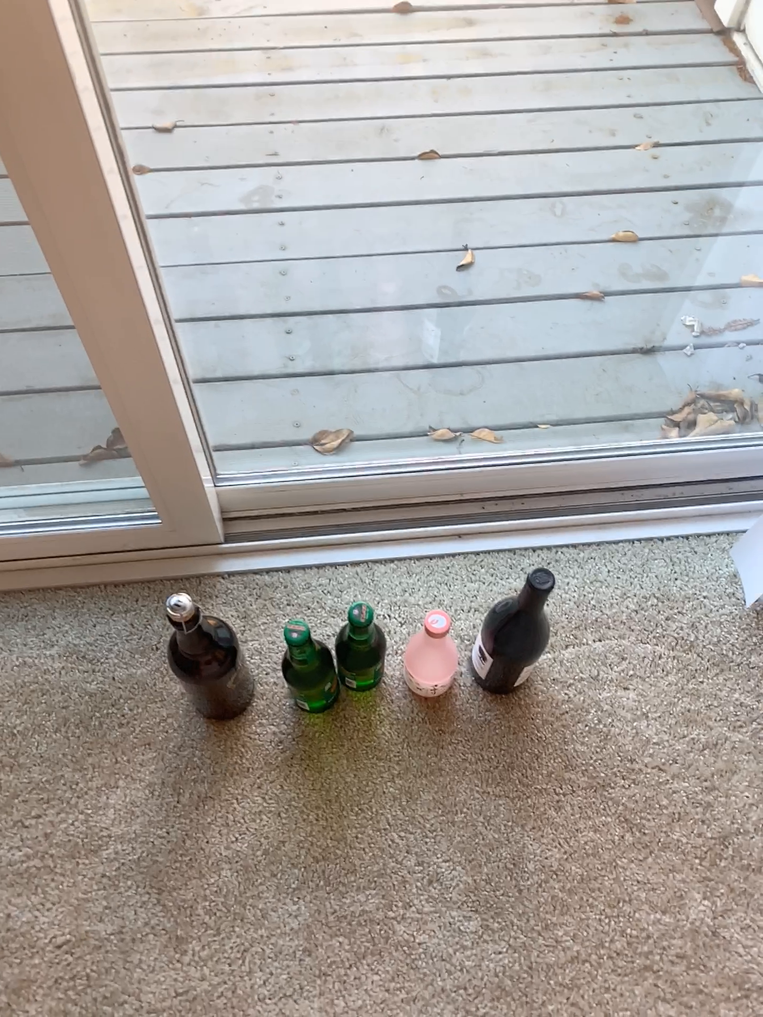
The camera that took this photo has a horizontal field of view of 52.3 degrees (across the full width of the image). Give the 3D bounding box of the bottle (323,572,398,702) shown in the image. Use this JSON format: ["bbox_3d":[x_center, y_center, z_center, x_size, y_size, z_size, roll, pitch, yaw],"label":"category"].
[{"bbox_3d":[-0.027,0.157,0.916,0.070,0.189,0.080,-7,60,-6],"label":"bottle"}]

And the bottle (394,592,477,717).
[{"bbox_3d":[0.060,0.176,0.914,0.070,0.170,0.080,12,61,6],"label":"bottle"}]

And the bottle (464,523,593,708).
[{"bbox_3d":[0.164,0.134,0.904,0.090,0.249,0.110,12,61,6],"label":"bottle"}]

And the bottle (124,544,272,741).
[{"bbox_3d":[-0.194,0.160,0.863,0.090,0.279,0.100,-18,62,-12],"label":"bottle"}]

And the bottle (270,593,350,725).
[{"bbox_3d":[-0.079,0.180,0.902,0.070,0.189,0.080,-11,61,-8],"label":"bottle"}]
